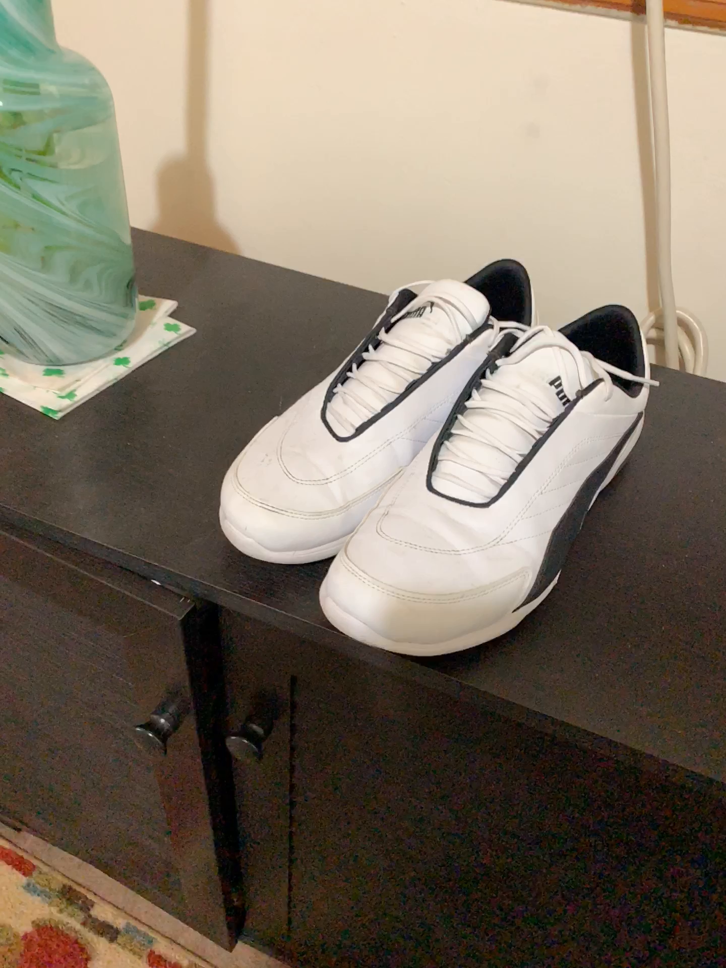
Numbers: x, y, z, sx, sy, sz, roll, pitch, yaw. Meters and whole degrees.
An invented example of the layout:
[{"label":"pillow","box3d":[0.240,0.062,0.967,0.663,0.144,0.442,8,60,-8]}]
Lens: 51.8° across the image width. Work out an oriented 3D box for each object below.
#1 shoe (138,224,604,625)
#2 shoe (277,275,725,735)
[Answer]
[{"label":"shoe","box3d":[0.019,-0.058,0.472,0.120,0.089,0.282,32,52,27]},{"label":"shoe","box3d":[0.093,-0.010,0.431,0.100,0.089,0.292,32,52,27]}]
